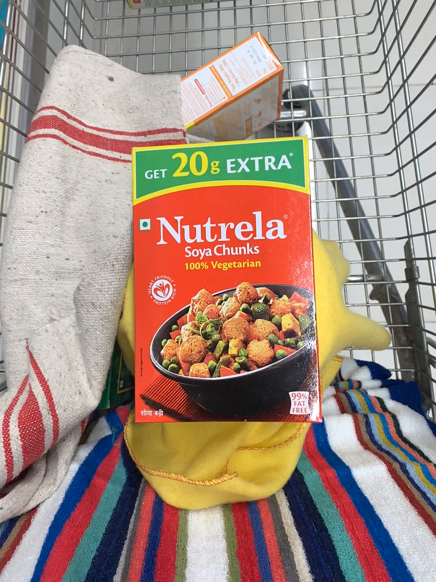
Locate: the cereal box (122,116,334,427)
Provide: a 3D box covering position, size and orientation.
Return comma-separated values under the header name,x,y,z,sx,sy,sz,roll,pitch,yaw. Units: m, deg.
name,x,y,z,sx,sy,sz,roll,pitch,yaw
cereal box,0.005,-0.010,0.294,0.120,0.060,0.180,-2,83,5
